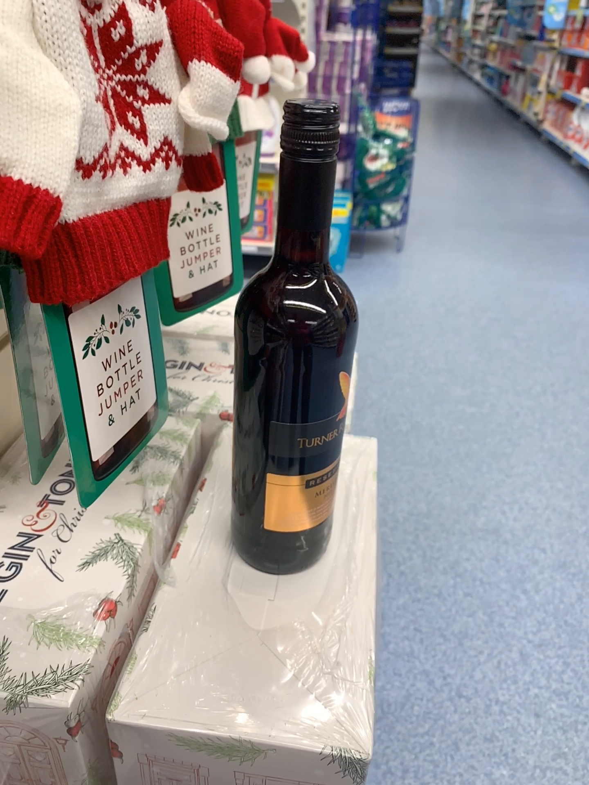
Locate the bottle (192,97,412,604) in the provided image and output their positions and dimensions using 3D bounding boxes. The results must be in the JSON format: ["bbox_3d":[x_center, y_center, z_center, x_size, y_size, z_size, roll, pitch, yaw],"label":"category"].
[{"bbox_3d":[0.002,-0.013,0.369,0.074,0.288,0.078,1,31,-1],"label":"bottle"}]
